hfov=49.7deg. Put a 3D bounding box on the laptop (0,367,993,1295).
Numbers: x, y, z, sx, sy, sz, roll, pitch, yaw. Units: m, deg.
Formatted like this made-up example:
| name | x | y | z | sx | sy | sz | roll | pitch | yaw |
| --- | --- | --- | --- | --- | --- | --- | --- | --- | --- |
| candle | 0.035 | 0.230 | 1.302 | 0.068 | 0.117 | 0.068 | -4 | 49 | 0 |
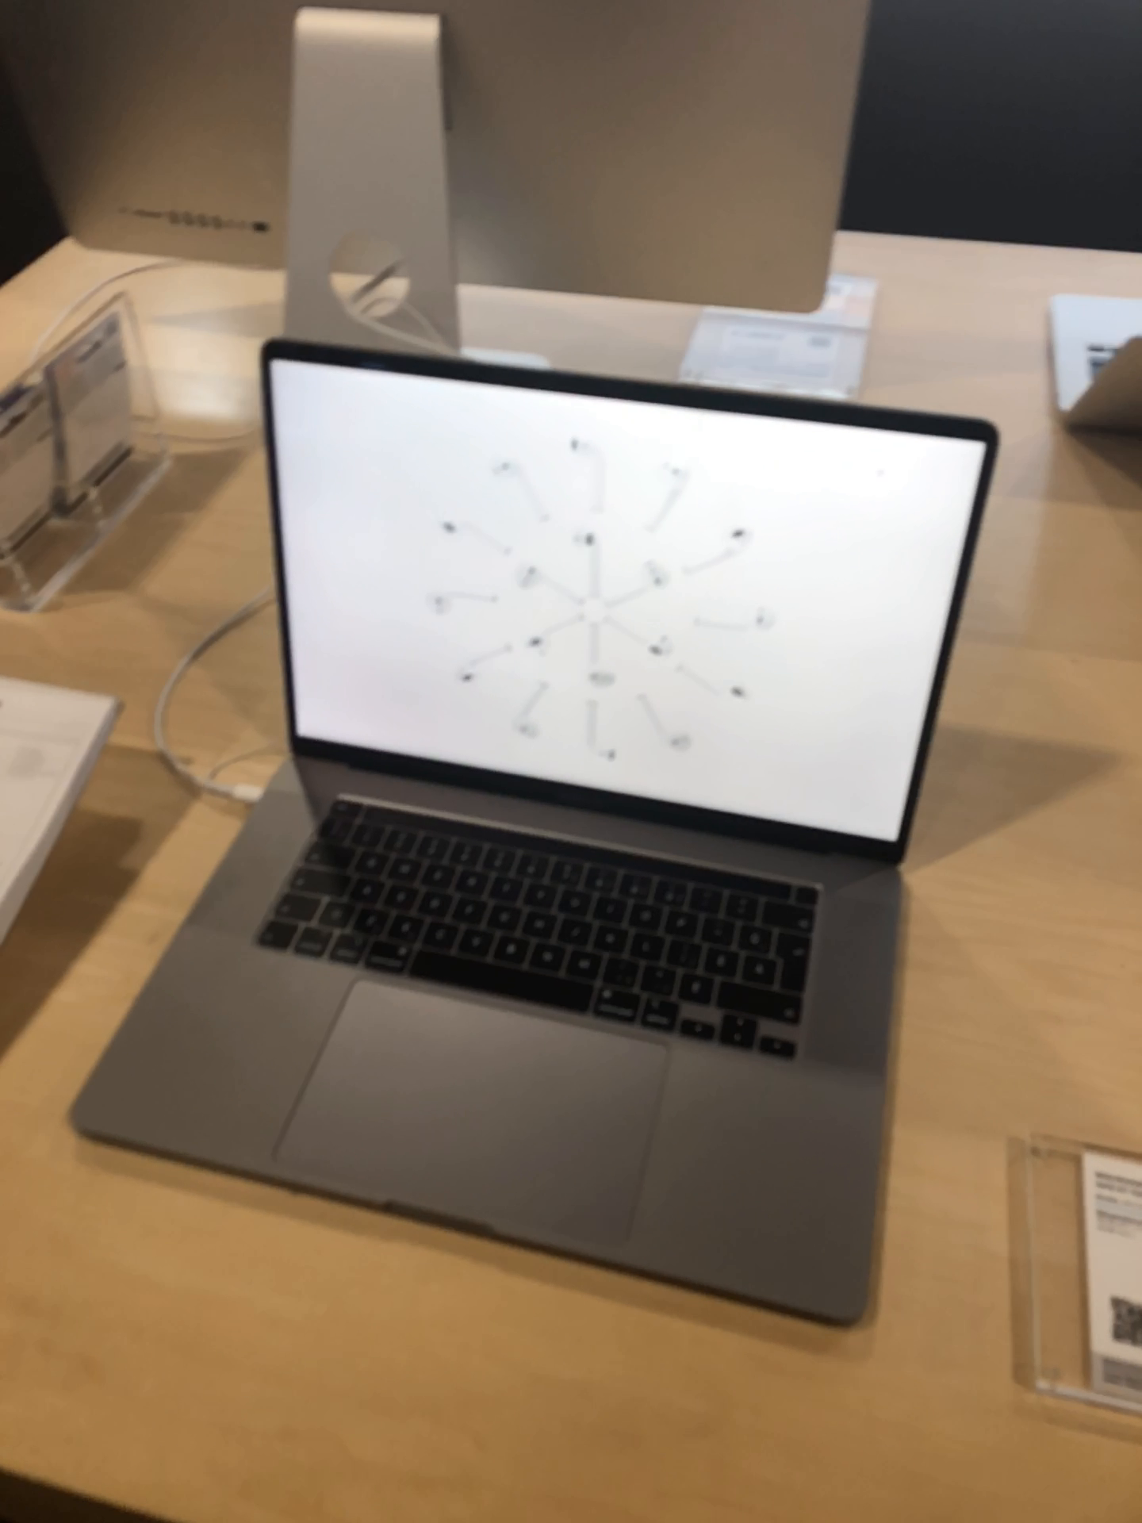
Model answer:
| name | x | y | z | sx | sy | sz | roll | pitch | yaw |
| --- | --- | --- | --- | --- | --- | --- | --- | --- | --- |
| laptop | -0.019 | 0.010 | 0.547 | 0.344 | 0.227 | 0.292 | 9 | 44 | 11 |
